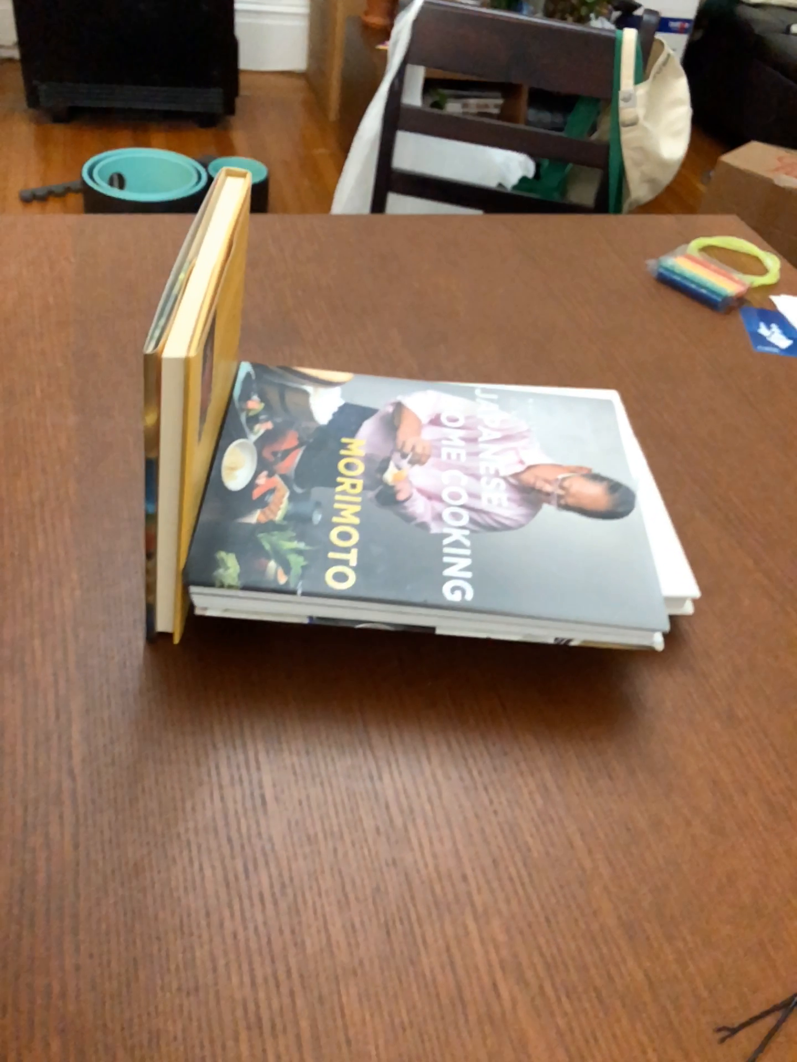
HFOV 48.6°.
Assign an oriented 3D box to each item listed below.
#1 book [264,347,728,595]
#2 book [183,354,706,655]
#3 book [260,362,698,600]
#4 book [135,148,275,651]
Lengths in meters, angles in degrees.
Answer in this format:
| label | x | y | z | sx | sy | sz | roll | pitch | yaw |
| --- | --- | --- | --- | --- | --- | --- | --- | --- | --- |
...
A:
| label | x | y | z | sx | sy | sz | roll | pitch | yaw |
| --- | --- | --- | --- | --- | --- | --- | --- | --- | --- |
| book | 0.051 | -0.049 | 0.609 | 0.280 | 0.030 | 0.221 | 0 | 44 | -8 |
| book | 0.026 | -0.027 | 0.559 | 0.280 | 0.030 | 0.221 | 4 | 44 | -4 |
| book | 0.043 | -0.047 | 0.646 | 0.280 | 0.030 | 0.221 | -1 | 44 | -10 |
| book | -0.109 | -0.078 | 0.523 | 0.030 | 0.209 | 0.211 | 8 | 44 | -5 |
